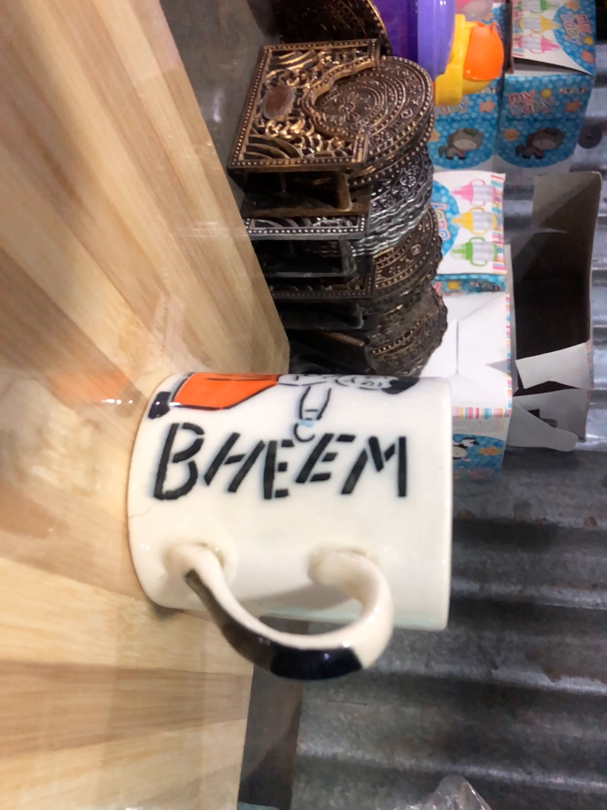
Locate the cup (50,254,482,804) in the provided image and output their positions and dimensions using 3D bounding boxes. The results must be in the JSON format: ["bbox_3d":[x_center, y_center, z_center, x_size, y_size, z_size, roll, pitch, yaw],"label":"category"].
[{"bbox_3d":[0.004,0.023,0.198,0.120,0.080,0.100,-72,162,-58],"label":"cup"}]
